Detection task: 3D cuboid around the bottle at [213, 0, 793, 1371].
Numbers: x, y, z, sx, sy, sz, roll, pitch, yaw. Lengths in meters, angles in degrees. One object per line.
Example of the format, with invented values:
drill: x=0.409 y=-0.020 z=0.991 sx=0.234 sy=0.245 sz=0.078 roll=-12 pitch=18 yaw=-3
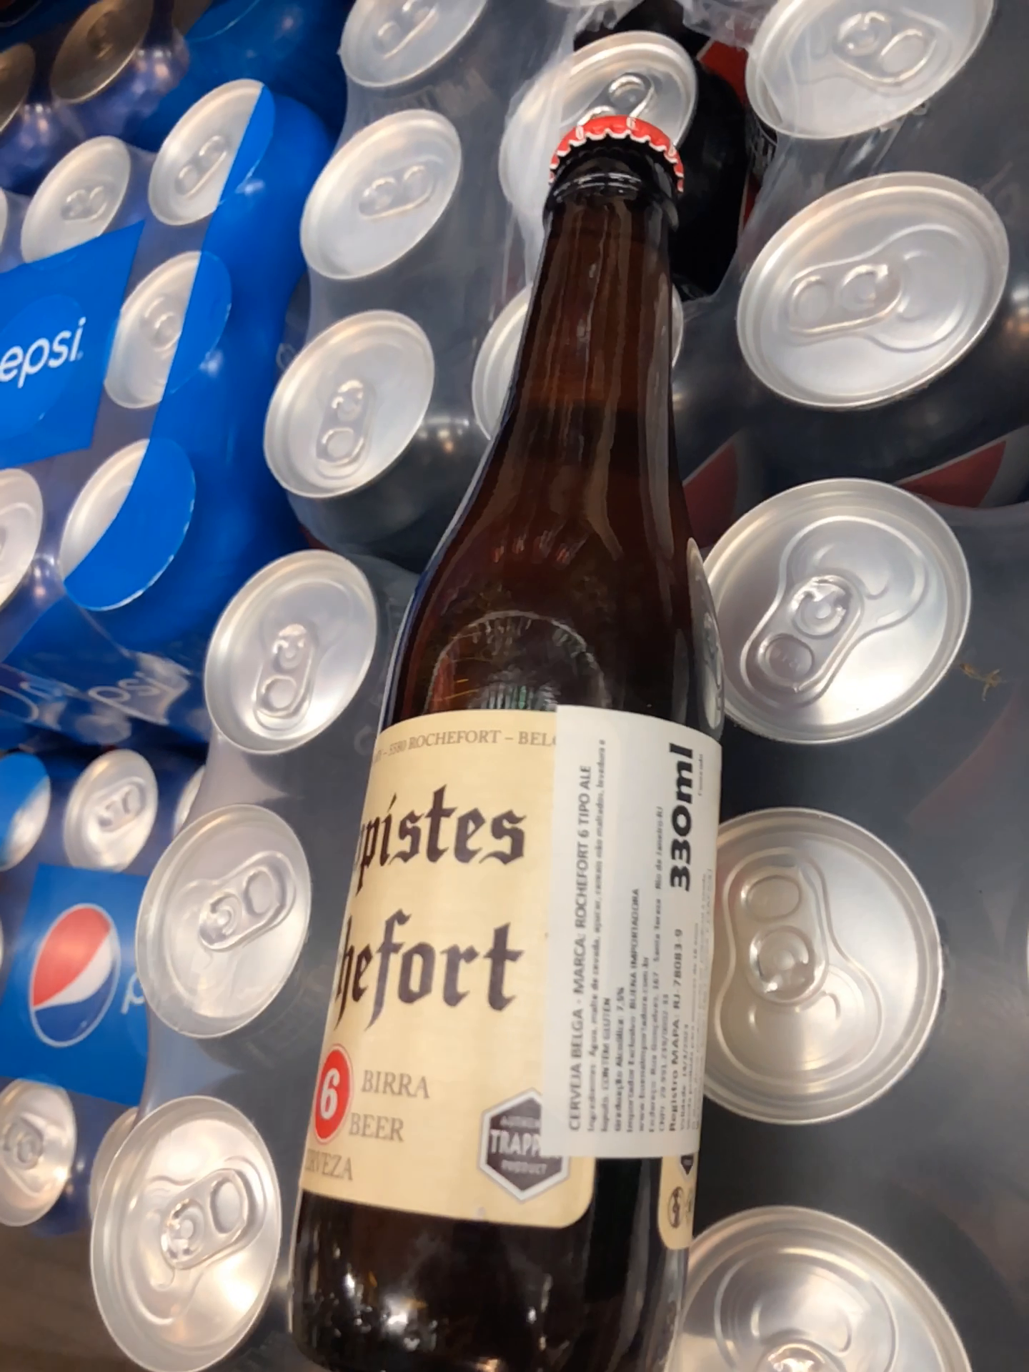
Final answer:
bottle: x=0.009 y=-0.014 z=0.203 sx=0.060 sy=0.050 sz=0.240 roll=-5 pitch=69 yaw=30
